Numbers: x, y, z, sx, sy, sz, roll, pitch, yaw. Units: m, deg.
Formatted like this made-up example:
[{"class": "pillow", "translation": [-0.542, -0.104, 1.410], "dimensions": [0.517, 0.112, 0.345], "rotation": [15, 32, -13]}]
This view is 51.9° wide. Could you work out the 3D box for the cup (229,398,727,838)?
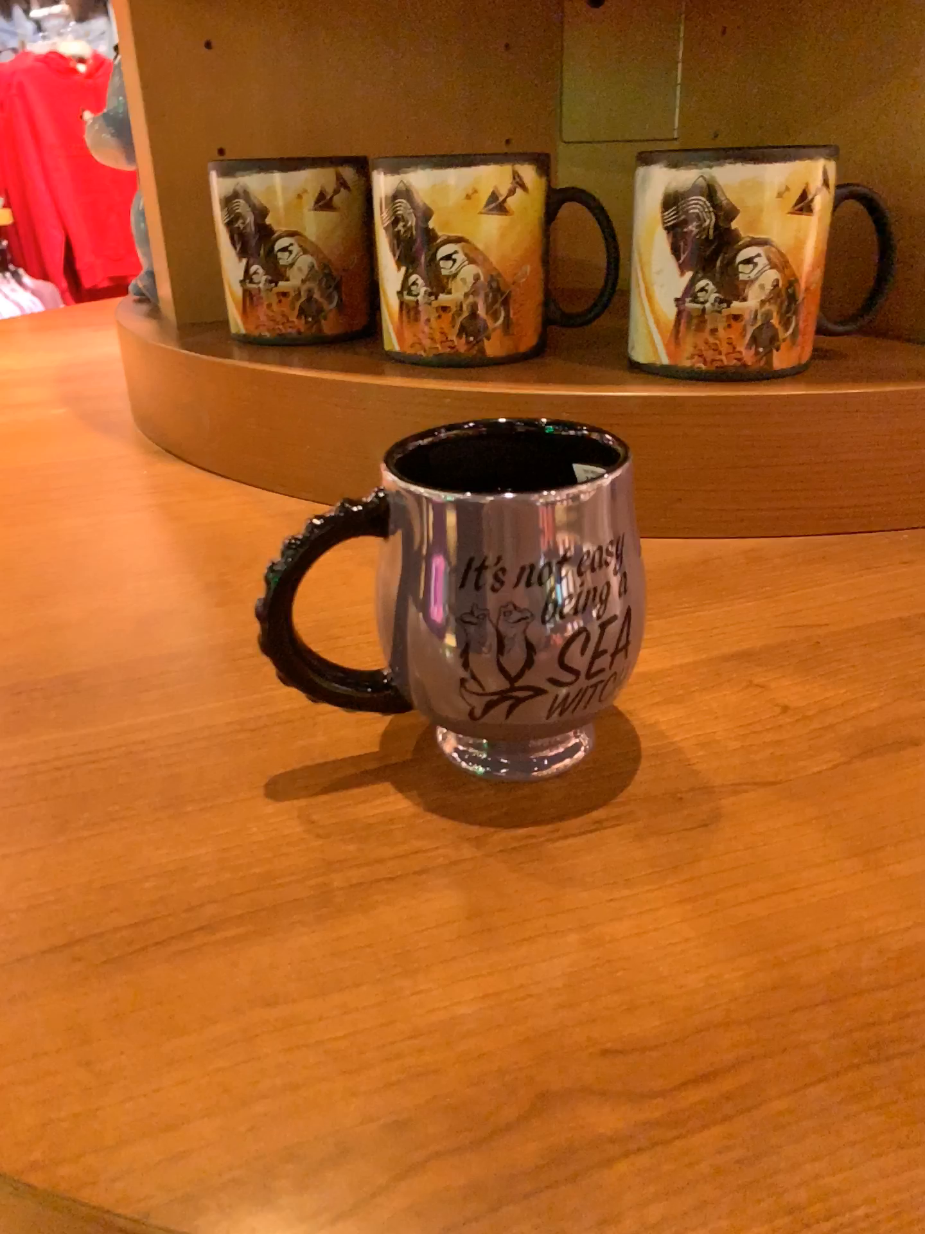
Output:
[{"class": "cup", "translation": [0.001, -0.008, 0.301], "dimensions": [0.125, 0.089, 0.087], "rotation": [-11, 28, -17]}]
